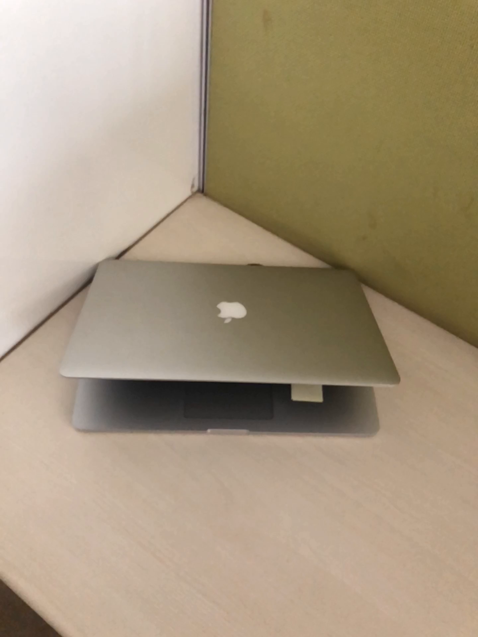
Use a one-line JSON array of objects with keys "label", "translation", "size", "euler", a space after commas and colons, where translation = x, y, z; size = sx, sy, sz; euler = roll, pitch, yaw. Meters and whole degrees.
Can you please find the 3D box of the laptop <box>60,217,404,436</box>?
[{"label": "laptop", "translation": [-0.008, 0.005, 0.631], "size": [0.343, 0.083, 0.244], "euler": [2, 56, -4]}]
